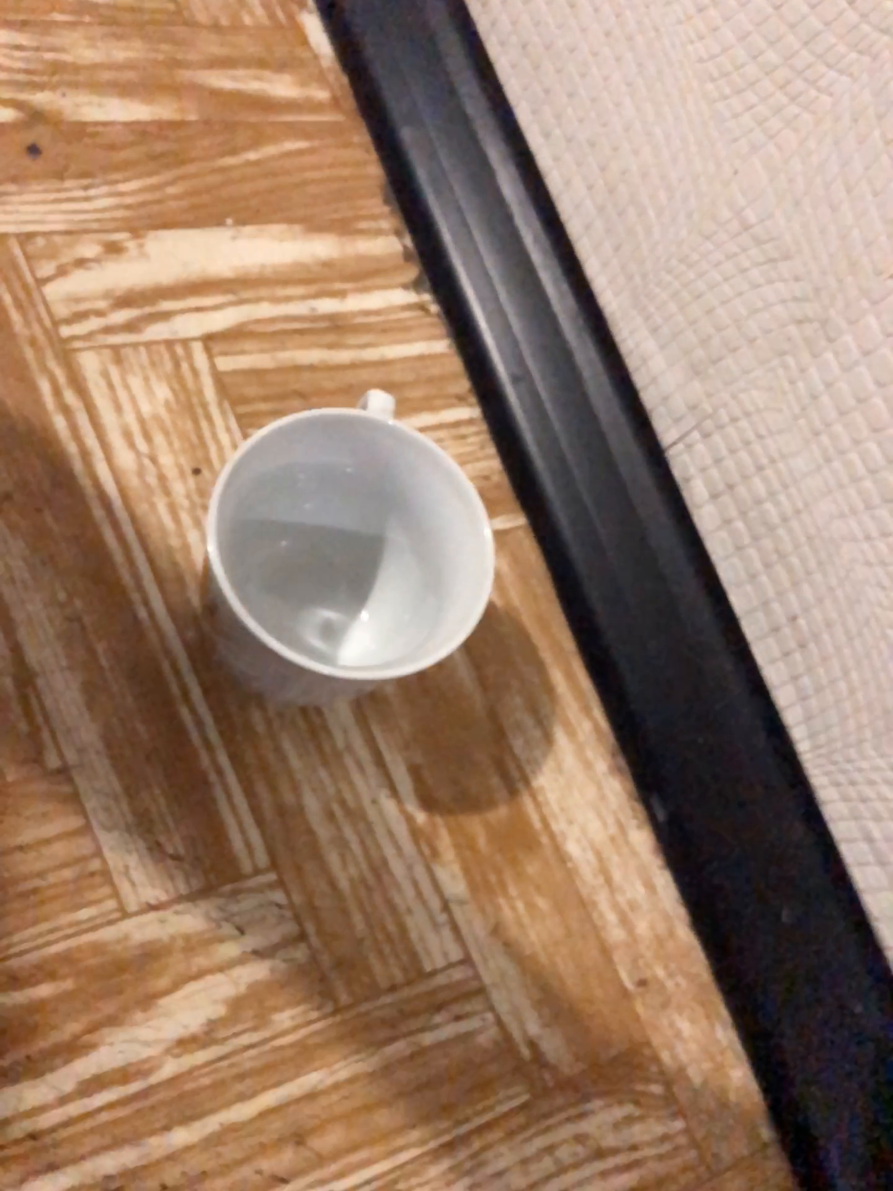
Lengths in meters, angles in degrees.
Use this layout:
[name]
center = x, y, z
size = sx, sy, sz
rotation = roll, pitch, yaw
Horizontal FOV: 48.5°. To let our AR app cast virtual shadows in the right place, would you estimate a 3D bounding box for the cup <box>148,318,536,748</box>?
[cup]
center = -0.032, -0.013, 0.302
size = 0.094, 0.069, 0.097
rotation = 7, 70, -20
